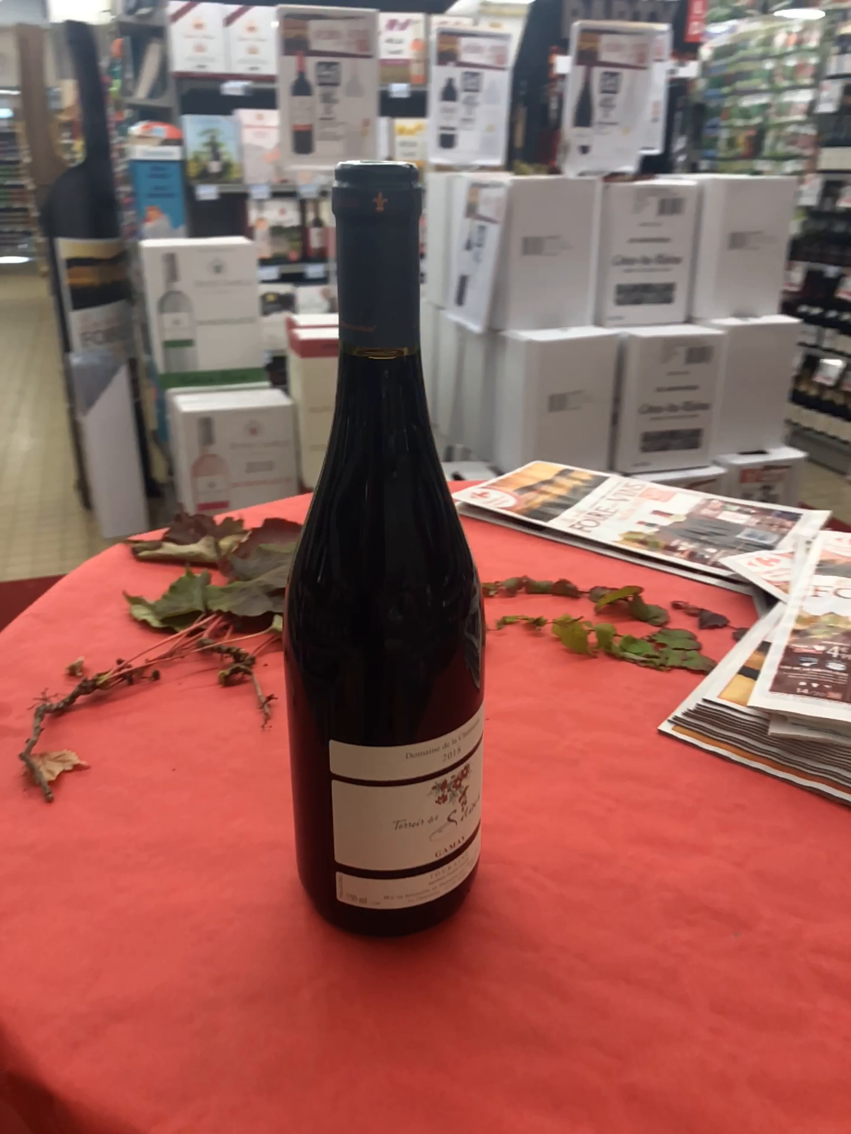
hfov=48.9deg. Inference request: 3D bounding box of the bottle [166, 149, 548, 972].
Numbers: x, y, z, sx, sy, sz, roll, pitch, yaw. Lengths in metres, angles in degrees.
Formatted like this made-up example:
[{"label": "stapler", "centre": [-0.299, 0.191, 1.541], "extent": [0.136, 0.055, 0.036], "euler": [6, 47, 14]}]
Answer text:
[{"label": "bottle", "centre": [-0.024, -0.003, 0.363], "extent": [0.090, 0.289, 0.090], "euler": [0, 22, 0]}]
